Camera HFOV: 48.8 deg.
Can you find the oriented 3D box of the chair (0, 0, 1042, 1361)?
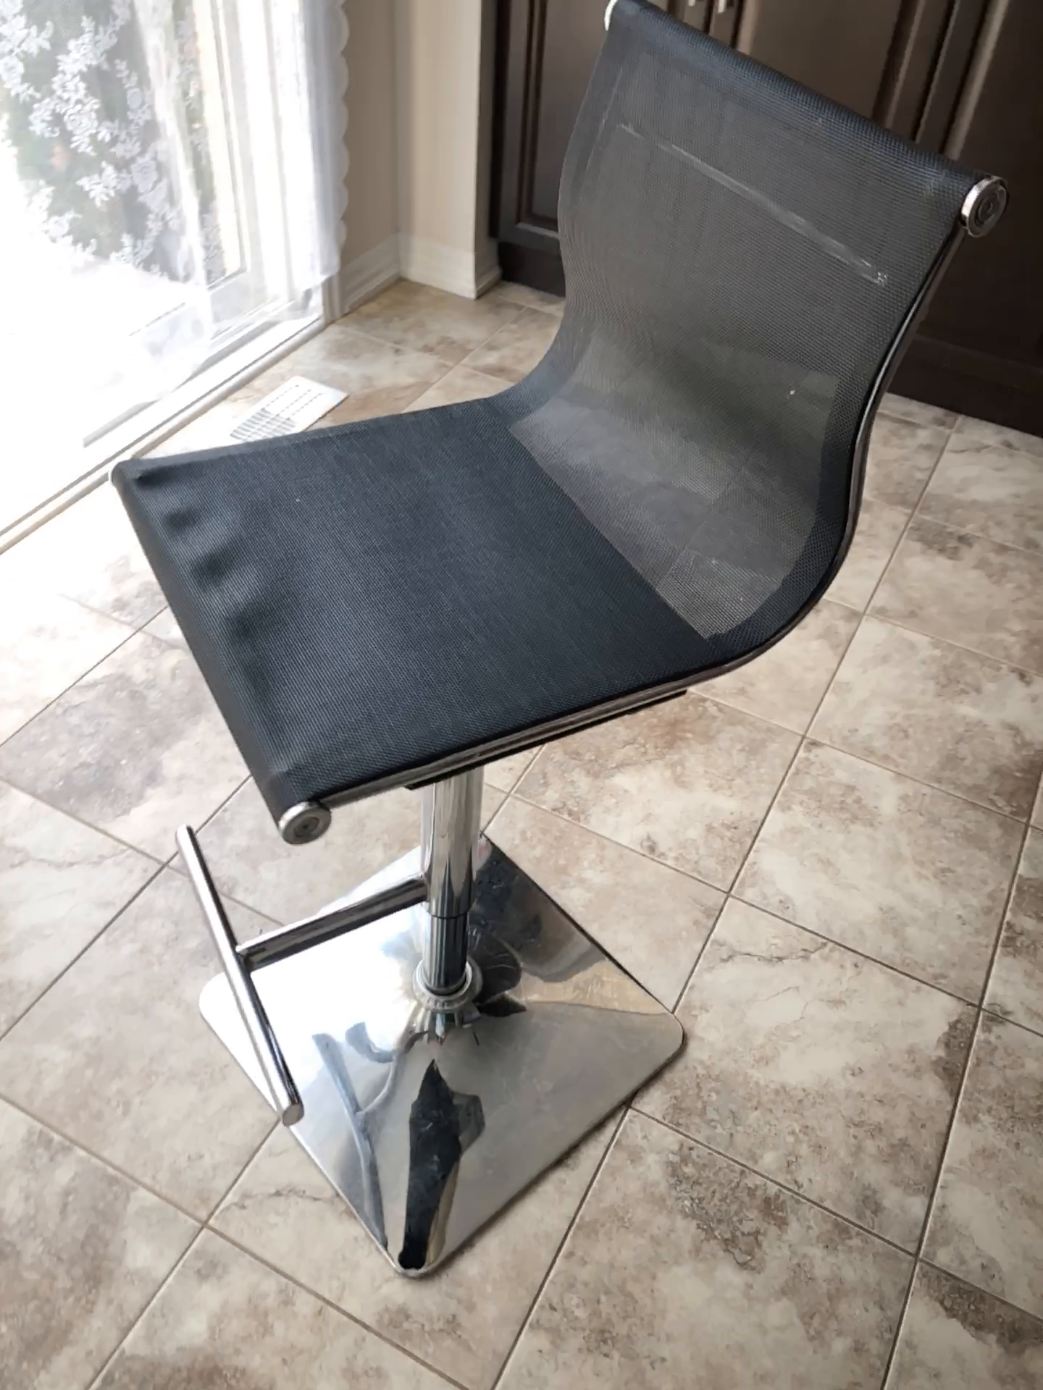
[{"bbox_3d":[-0.072,0.008,0.979,0.551,0.976,0.541,-17,48,-22],"label":"chair"}]
